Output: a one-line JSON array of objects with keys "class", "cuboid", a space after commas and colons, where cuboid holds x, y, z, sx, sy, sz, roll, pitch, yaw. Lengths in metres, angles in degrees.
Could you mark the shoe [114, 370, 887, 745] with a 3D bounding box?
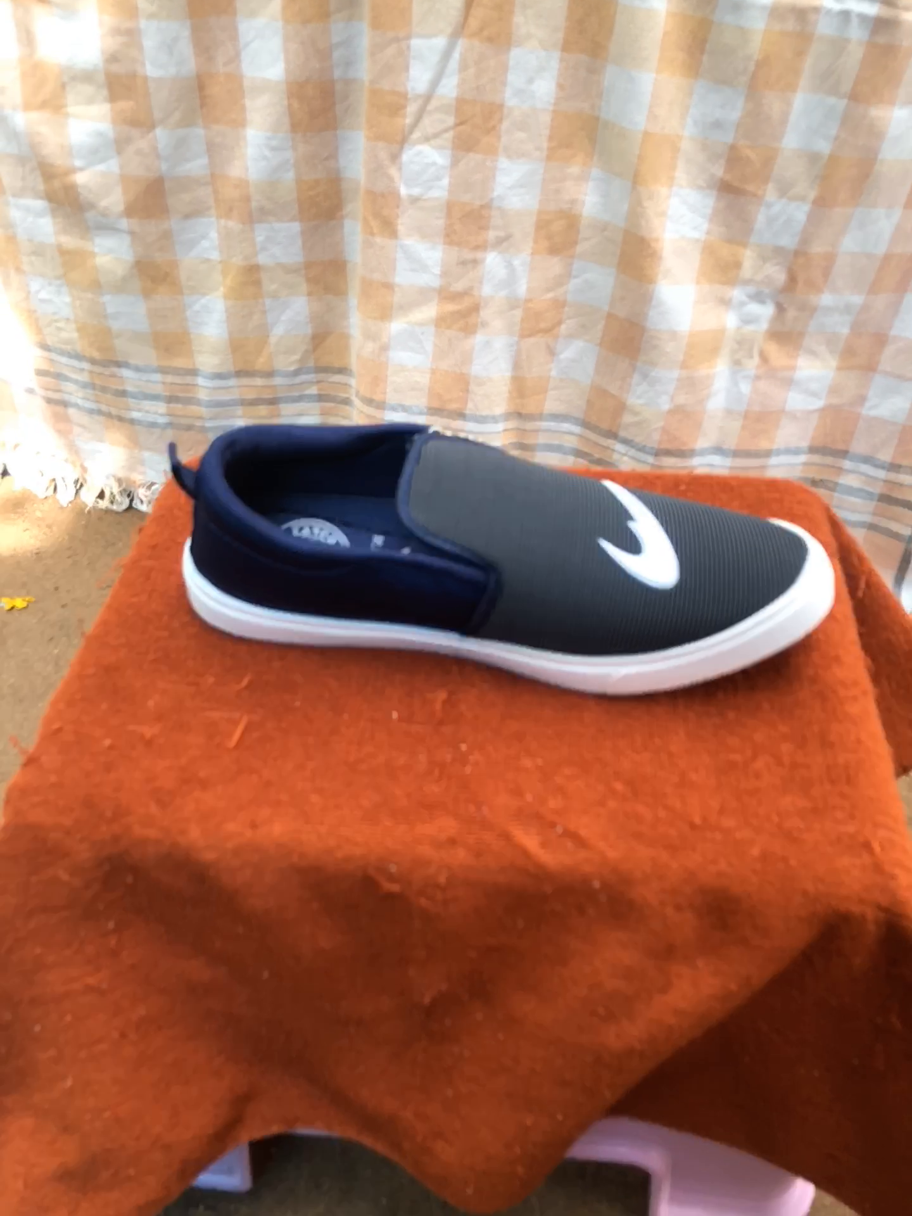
[{"class": "shoe", "cuboid": [0.019, -0.027, 0.444, 0.300, 0.080, 0.101, 9, 43, 6]}]
